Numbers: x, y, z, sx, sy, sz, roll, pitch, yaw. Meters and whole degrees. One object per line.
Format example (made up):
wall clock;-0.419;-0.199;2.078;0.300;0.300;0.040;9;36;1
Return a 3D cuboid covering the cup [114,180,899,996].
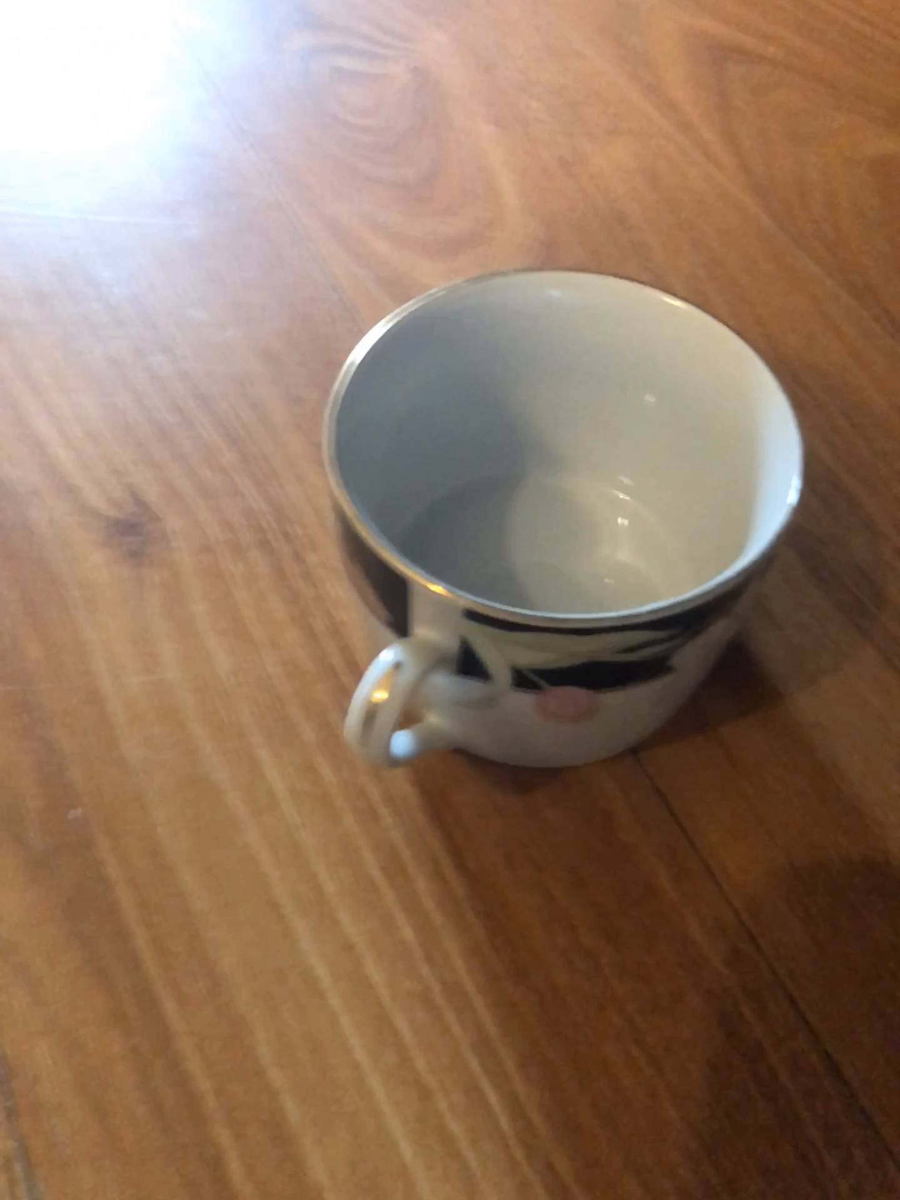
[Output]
cup;0.018;-0.008;0.184;0.090;0.060;0.110;27;61;16
